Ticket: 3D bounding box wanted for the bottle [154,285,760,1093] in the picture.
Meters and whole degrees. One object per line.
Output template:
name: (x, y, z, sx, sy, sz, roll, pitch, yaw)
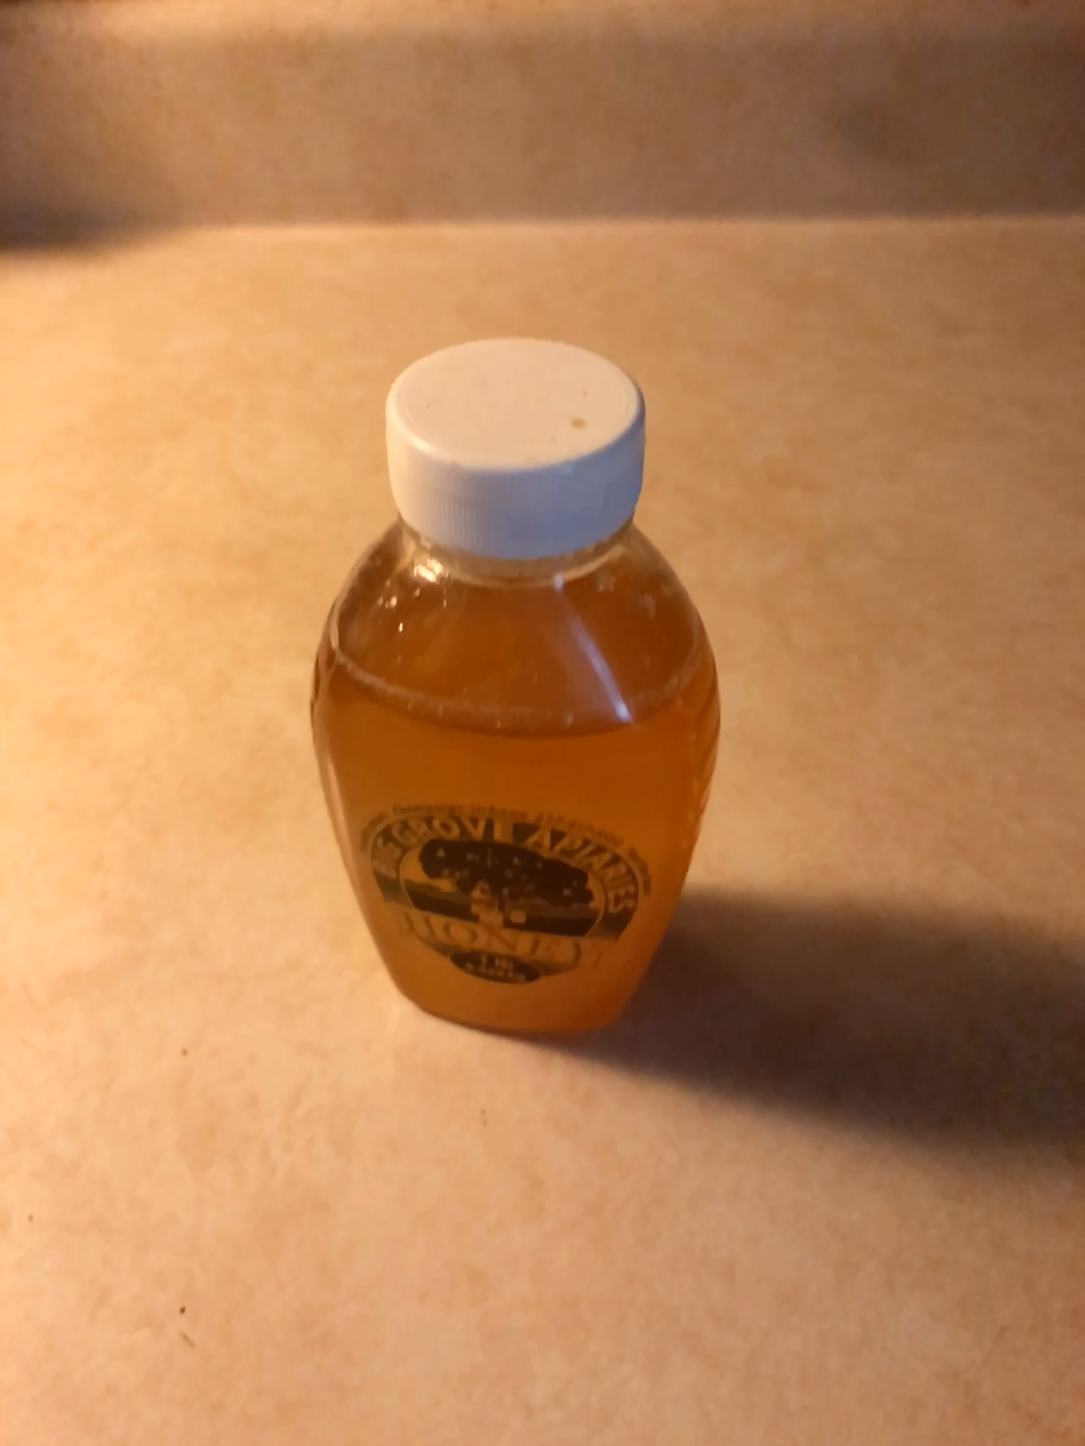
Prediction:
bottle: (-0.009, 0.001, 0.229, 0.080, 0.140, 0.060, 6, 43, 5)
